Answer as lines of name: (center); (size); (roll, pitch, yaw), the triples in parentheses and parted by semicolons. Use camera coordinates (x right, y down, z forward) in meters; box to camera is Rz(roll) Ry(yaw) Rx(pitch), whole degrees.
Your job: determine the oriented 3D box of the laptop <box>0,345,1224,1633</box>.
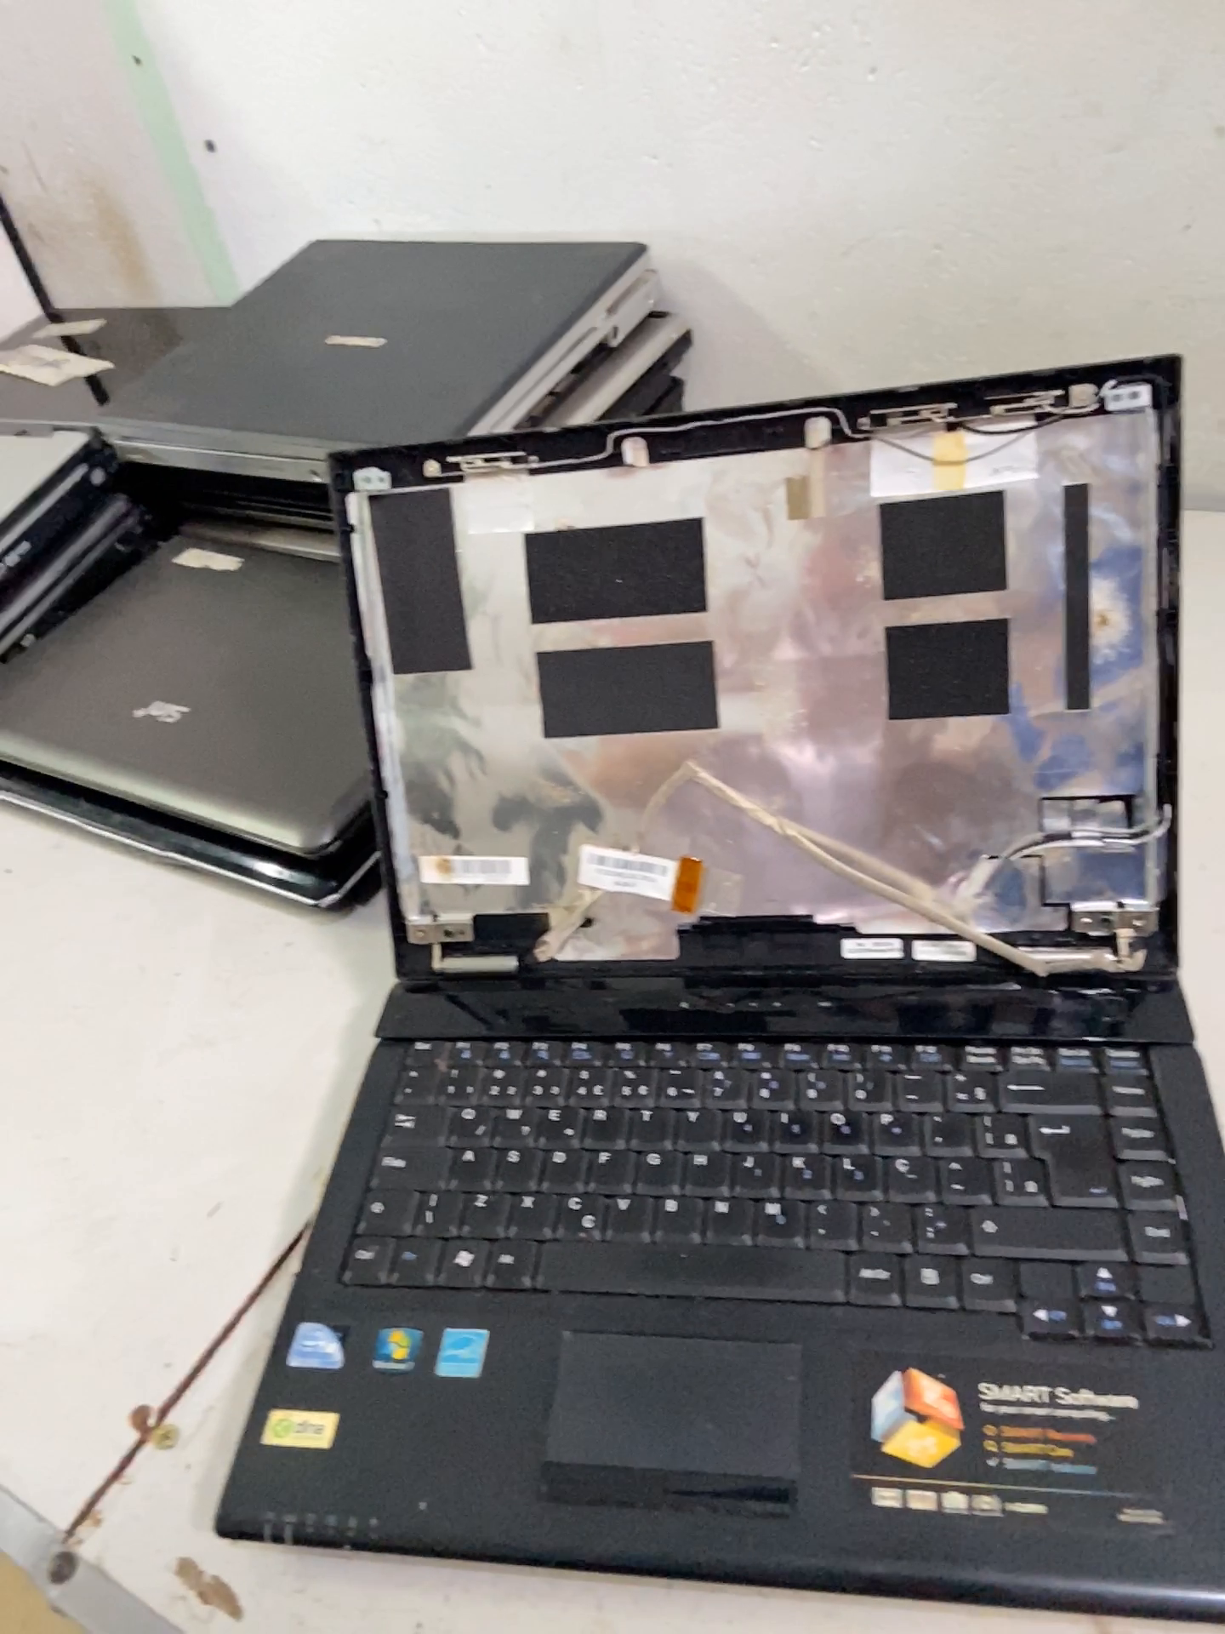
laptop: (0.038, 0.033, 0.428); (0.332, 0.206, 0.337); (-3, 42, 14)
